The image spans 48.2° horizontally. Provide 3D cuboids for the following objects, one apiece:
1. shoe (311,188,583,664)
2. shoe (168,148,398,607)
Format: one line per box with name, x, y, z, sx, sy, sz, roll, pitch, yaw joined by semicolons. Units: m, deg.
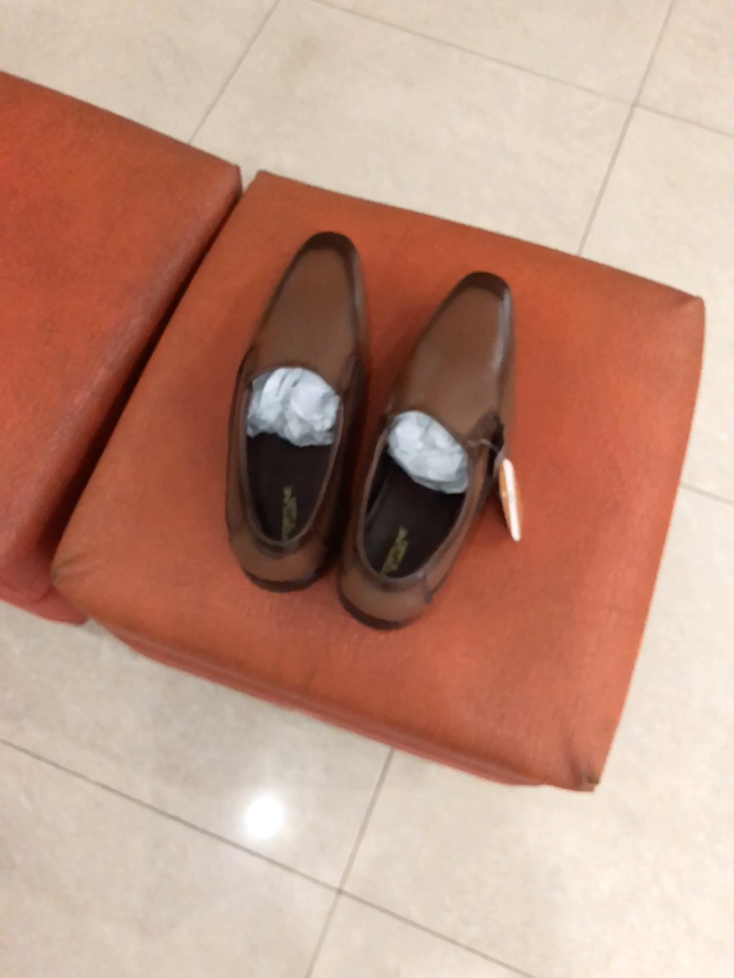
shoe;0.056;-0.043;0.577;0.099;0.128;0.293;17;69;4
shoe;-0.048;-0.080;0.578;0.101;0.108;0.295;7;69;1
